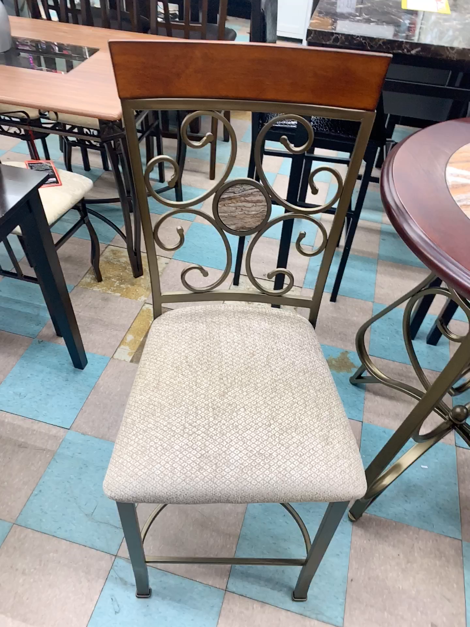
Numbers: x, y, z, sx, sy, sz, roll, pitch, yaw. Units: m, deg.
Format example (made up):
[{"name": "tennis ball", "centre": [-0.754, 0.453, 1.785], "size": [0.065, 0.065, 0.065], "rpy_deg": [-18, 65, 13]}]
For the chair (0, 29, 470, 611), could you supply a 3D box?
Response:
[{"name": "chair", "centre": [-0.003, 0.128, 0.961], "size": [0.510, 1.074, 0.563], "rpy_deg": [3, 45, -1]}]
